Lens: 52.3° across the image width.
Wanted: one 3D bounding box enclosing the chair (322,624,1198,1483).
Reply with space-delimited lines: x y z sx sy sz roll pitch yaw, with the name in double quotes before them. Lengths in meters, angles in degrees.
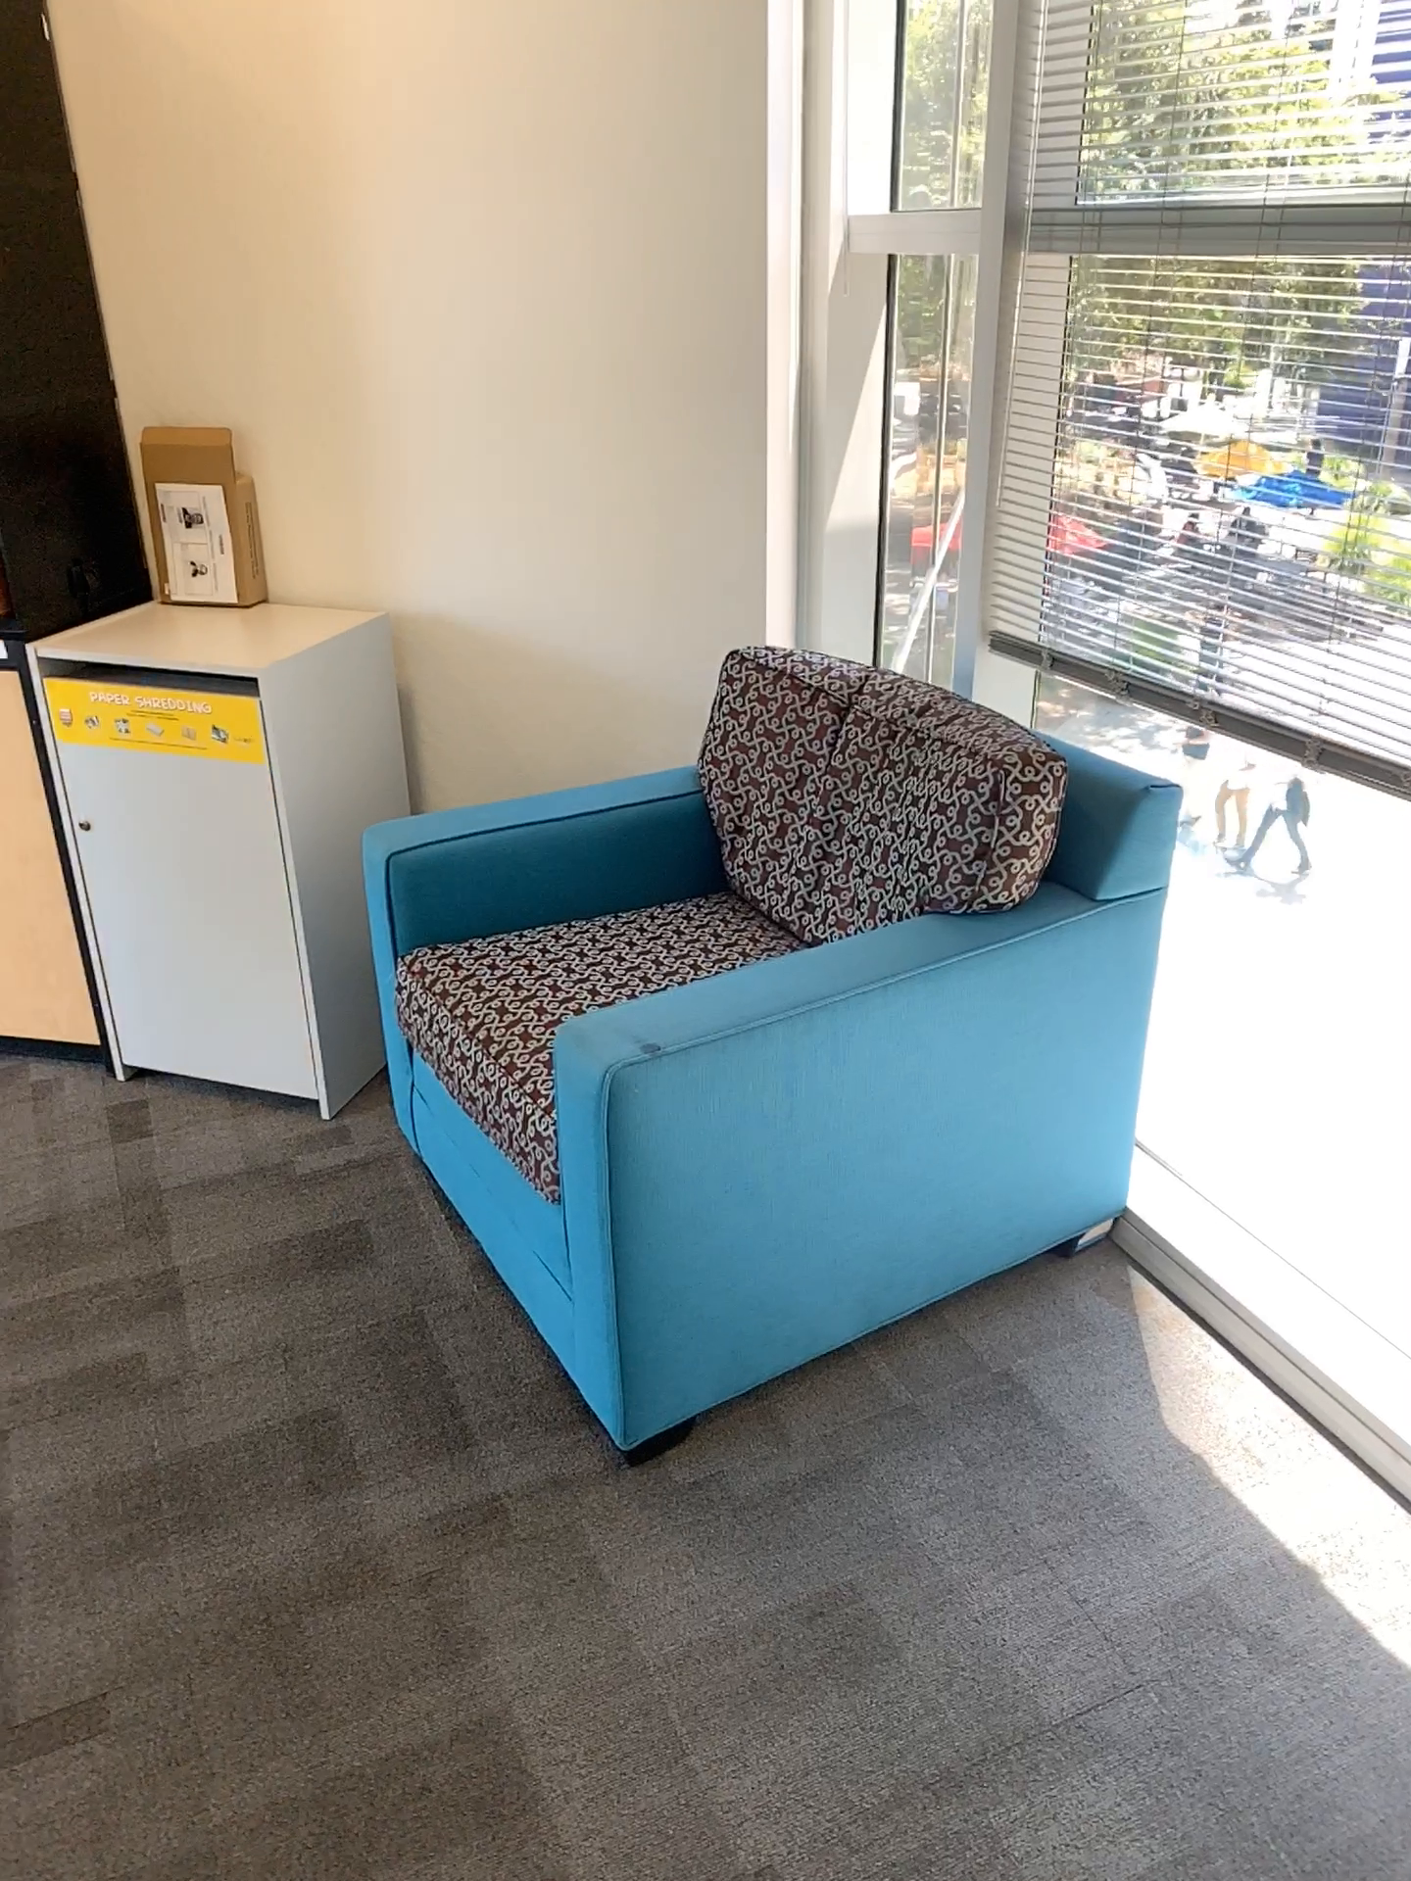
"chair" 0.036 0.057 2.252 0.910 0.805 0.935 -15 29 -27
